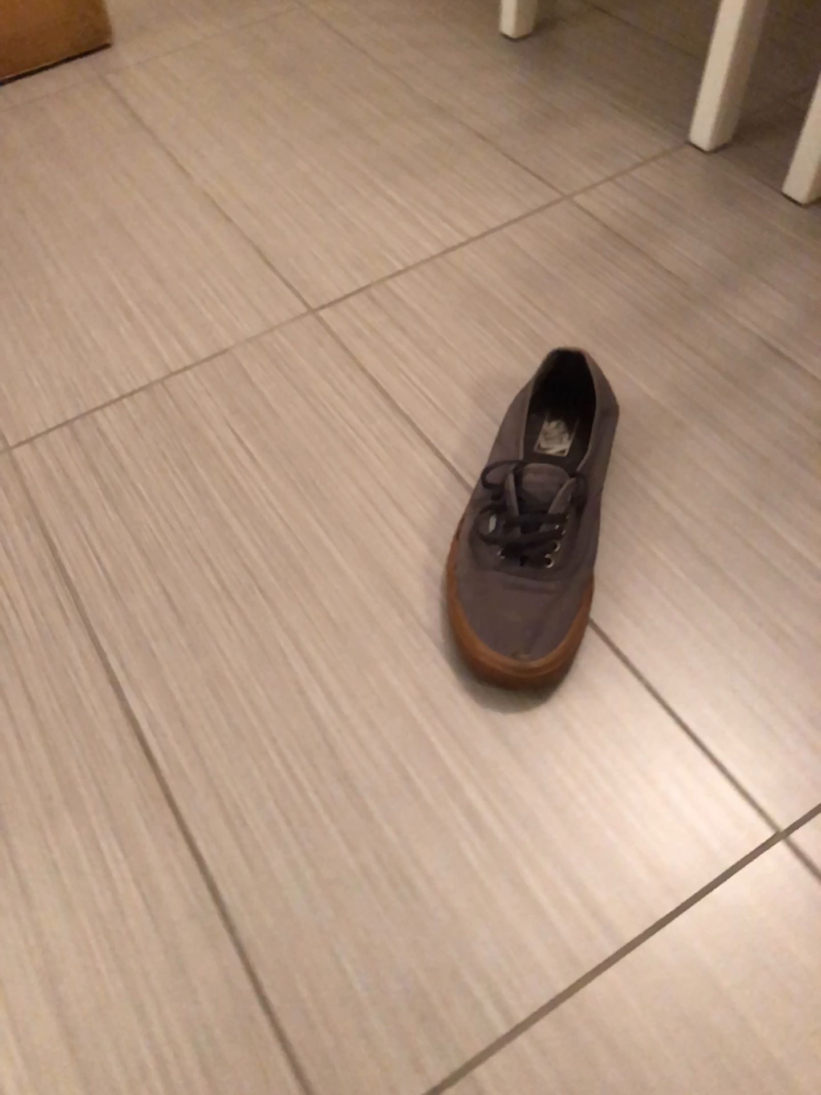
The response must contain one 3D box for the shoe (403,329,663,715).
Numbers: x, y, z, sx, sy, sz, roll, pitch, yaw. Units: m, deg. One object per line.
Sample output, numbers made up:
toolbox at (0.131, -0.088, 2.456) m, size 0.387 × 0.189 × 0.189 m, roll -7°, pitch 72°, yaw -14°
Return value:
shoe at (0.097, -0.034, 0.654) m, size 0.110 × 0.060 × 0.291 m, roll 13°, pitch 55°, yaw 15°
